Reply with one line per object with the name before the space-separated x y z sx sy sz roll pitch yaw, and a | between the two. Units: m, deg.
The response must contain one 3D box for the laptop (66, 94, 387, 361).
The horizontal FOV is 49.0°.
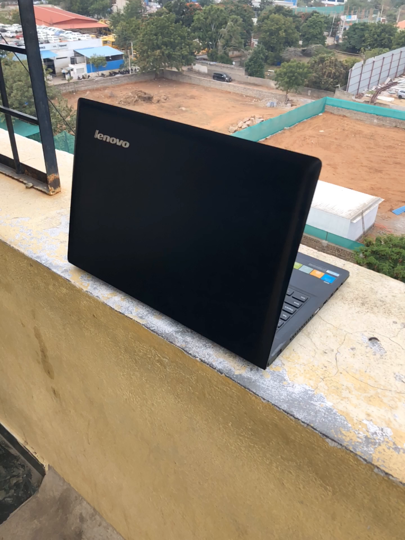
laptop | 0.025 -0.093 0.635 0.334 0.223 0.246 26 40 32
